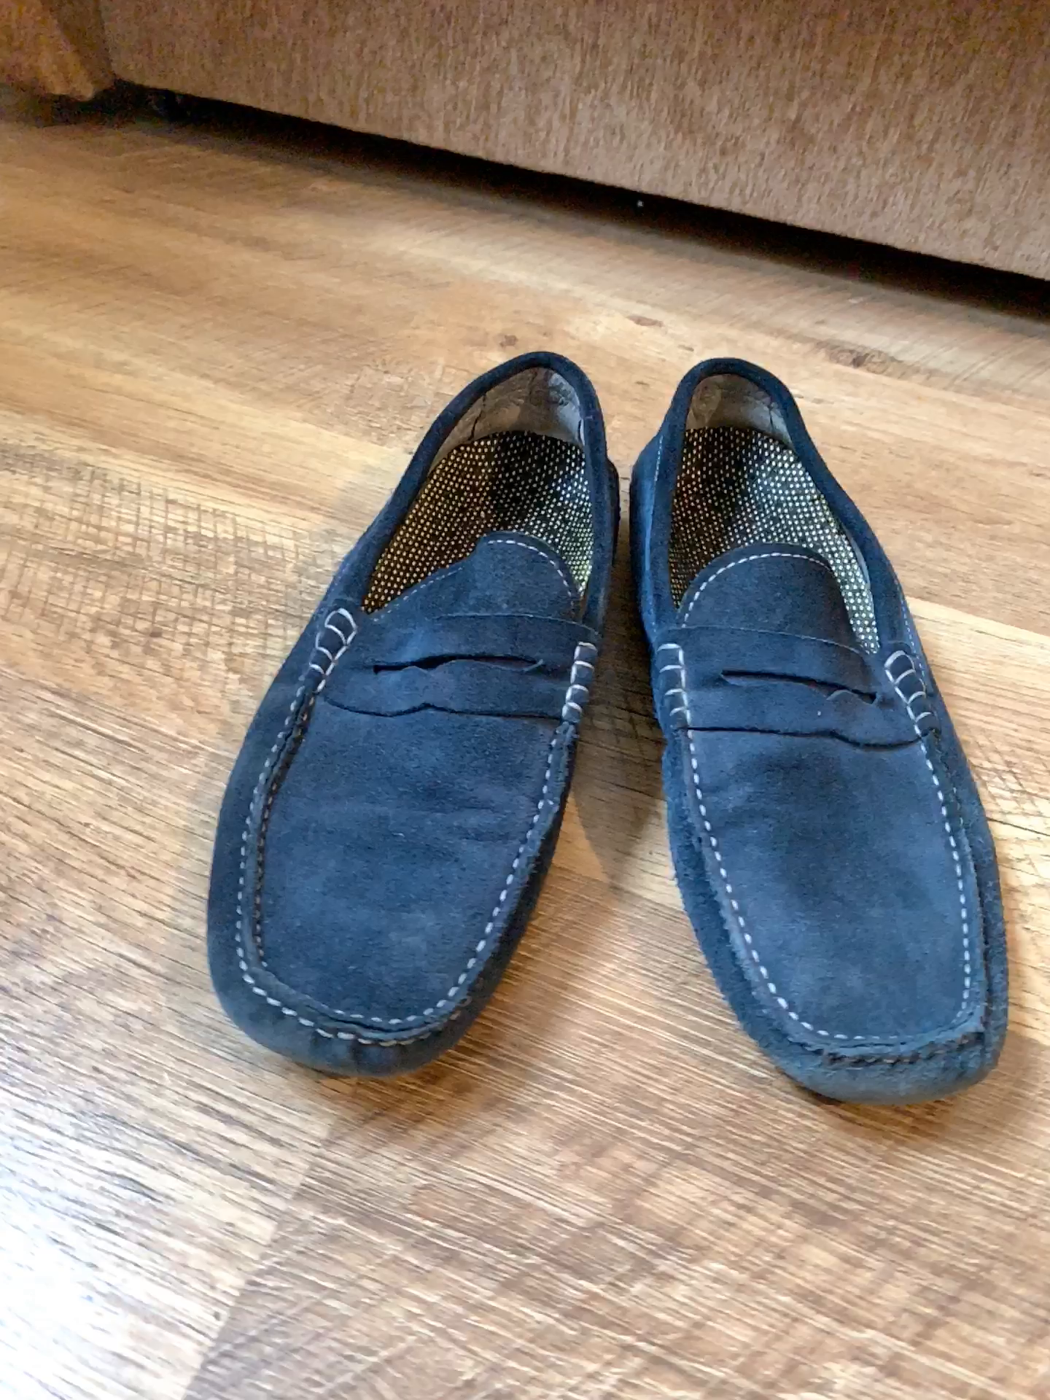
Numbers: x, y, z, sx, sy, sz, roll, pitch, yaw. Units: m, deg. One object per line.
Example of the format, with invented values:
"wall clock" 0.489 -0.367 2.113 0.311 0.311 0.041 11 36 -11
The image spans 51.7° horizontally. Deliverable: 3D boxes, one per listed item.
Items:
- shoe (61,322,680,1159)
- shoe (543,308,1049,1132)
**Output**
"shoe" -0.020 -0.017 0.334 0.100 0.070 0.271 11 45 5
"shoe" 0.075 -0.024 0.344 0.110 0.070 0.291 0 45 -6
